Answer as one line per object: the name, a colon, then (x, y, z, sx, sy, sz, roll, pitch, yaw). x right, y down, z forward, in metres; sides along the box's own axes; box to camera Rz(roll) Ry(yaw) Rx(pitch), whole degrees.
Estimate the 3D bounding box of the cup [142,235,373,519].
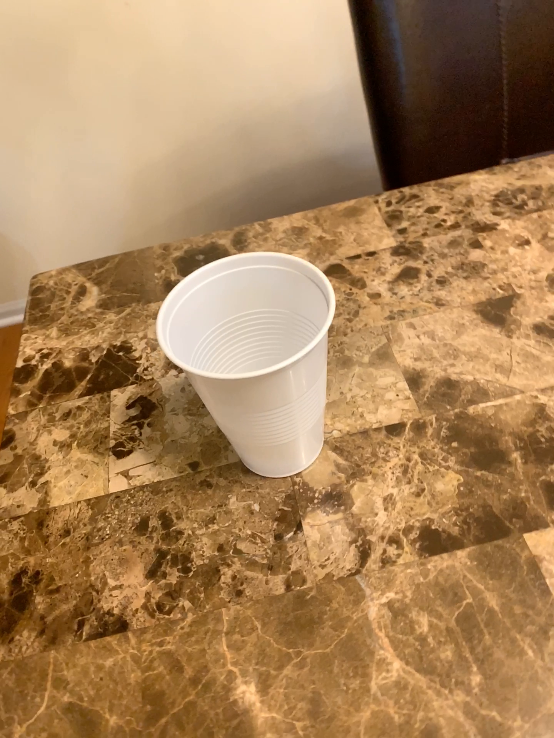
cup: (-0.008, 0.003, 0.273, 0.077, 0.083, 0.082, -6, 47, 6)
